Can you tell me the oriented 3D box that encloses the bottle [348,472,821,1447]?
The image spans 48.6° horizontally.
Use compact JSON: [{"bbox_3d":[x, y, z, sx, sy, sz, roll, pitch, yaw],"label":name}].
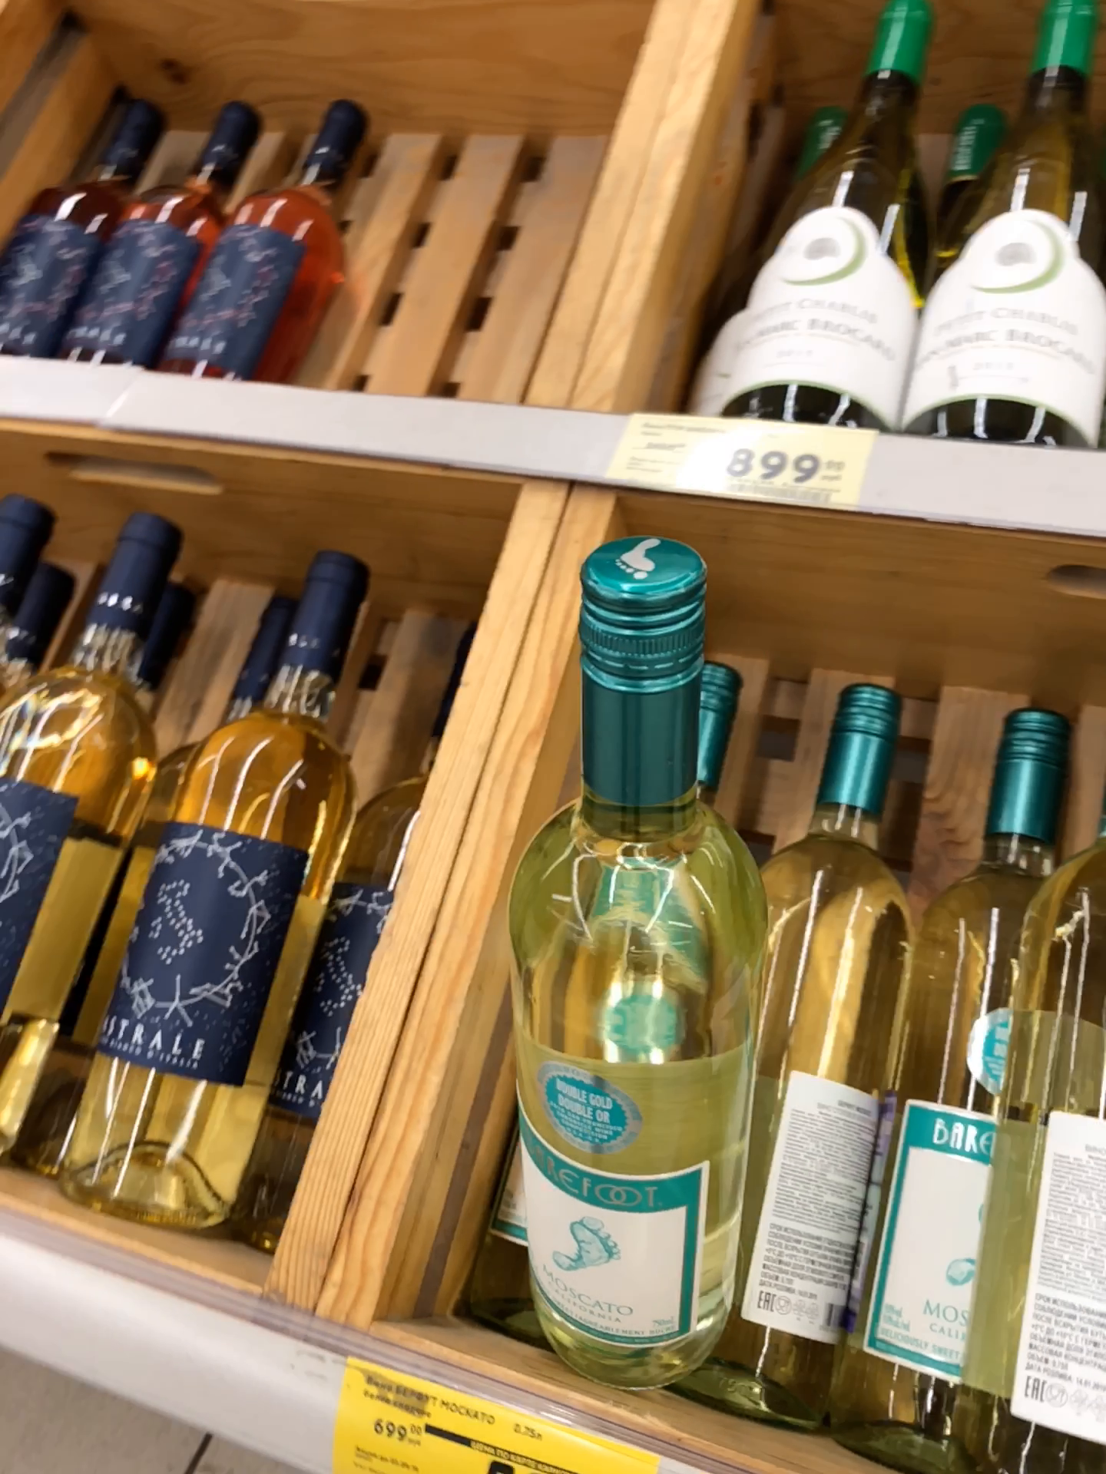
[{"bbox_3d":[0.015,0.079,0.360,0.080,0.288,0.080,-2,34,1],"label":"bottle"}]
